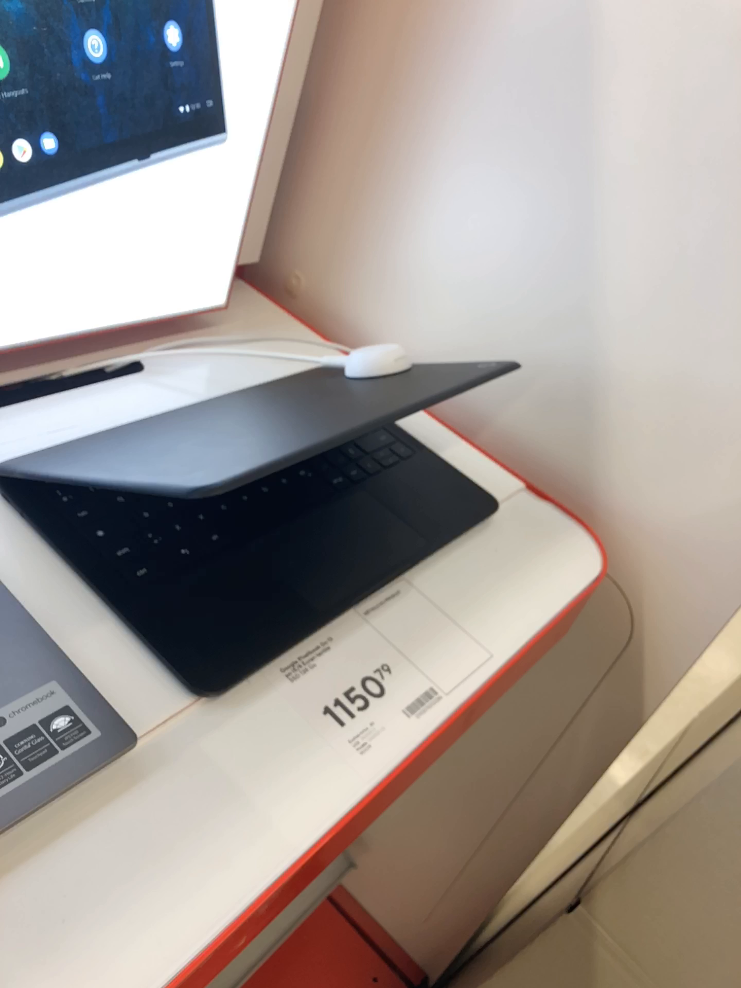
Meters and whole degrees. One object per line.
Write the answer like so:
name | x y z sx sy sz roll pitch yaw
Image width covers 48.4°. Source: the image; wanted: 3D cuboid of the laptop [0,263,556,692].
laptop | -0.048 -0.041 0.543 0.199 0.106 0.299 37 38 22
